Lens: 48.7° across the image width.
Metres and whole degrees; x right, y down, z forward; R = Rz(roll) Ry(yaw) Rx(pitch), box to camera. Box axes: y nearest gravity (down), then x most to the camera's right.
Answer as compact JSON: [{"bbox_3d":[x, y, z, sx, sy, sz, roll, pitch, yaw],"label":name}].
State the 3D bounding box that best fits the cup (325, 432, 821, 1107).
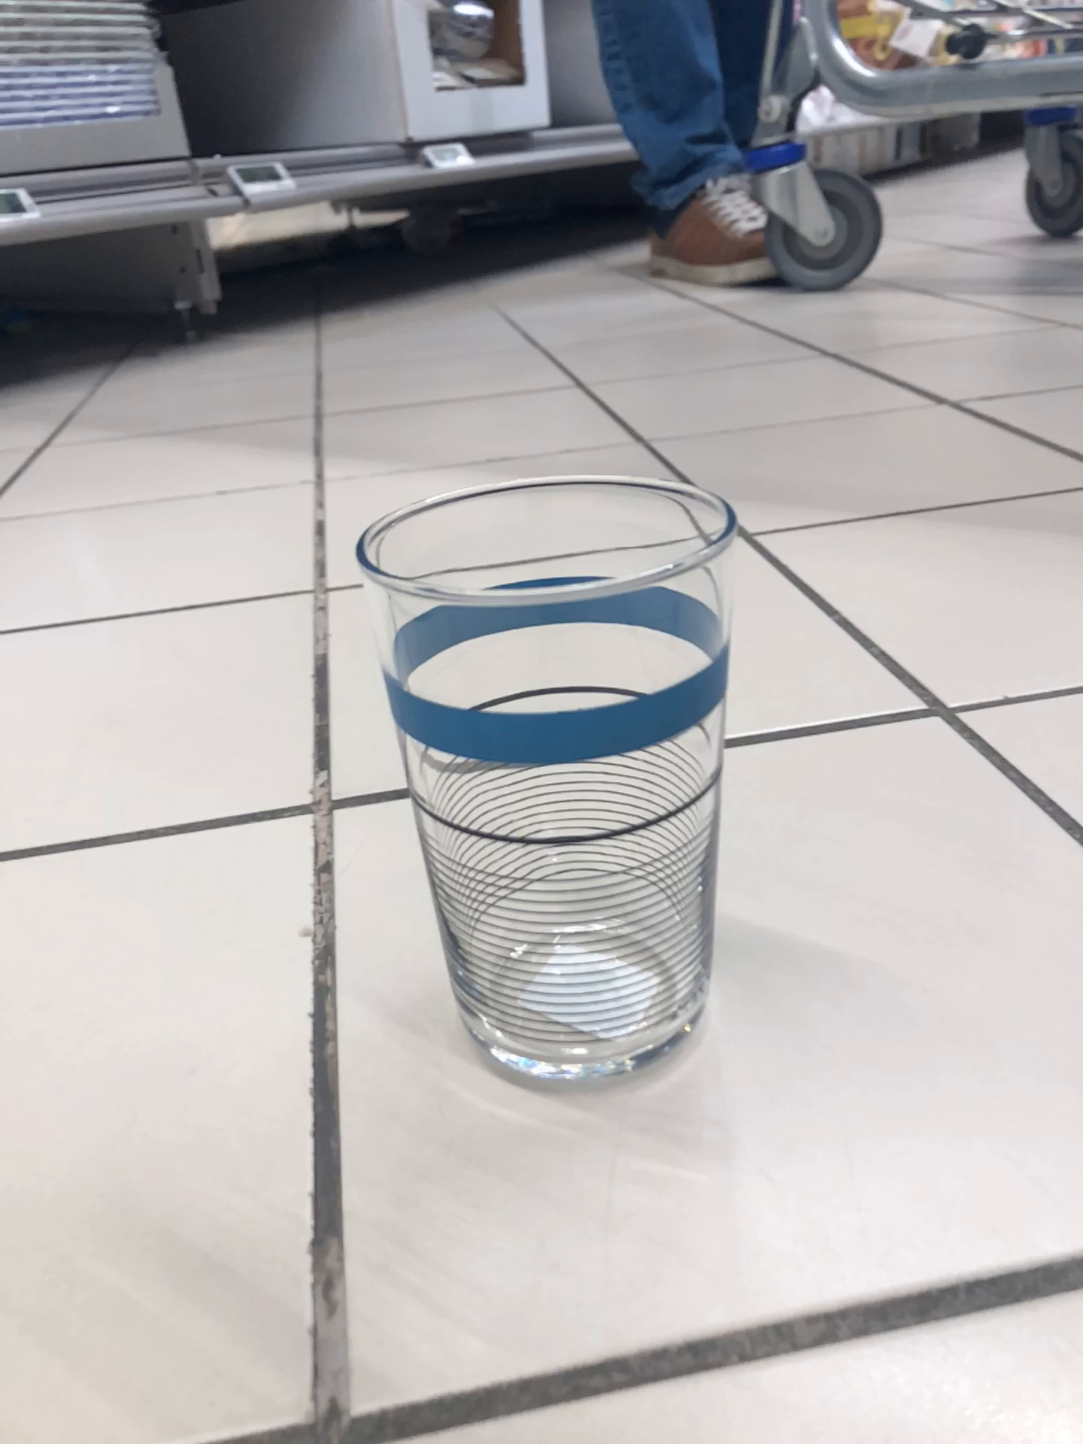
[{"bbox_3d":[0.004,0.005,0.245,0.079,0.102,0.080,-5,26,2],"label":"cup"}]
